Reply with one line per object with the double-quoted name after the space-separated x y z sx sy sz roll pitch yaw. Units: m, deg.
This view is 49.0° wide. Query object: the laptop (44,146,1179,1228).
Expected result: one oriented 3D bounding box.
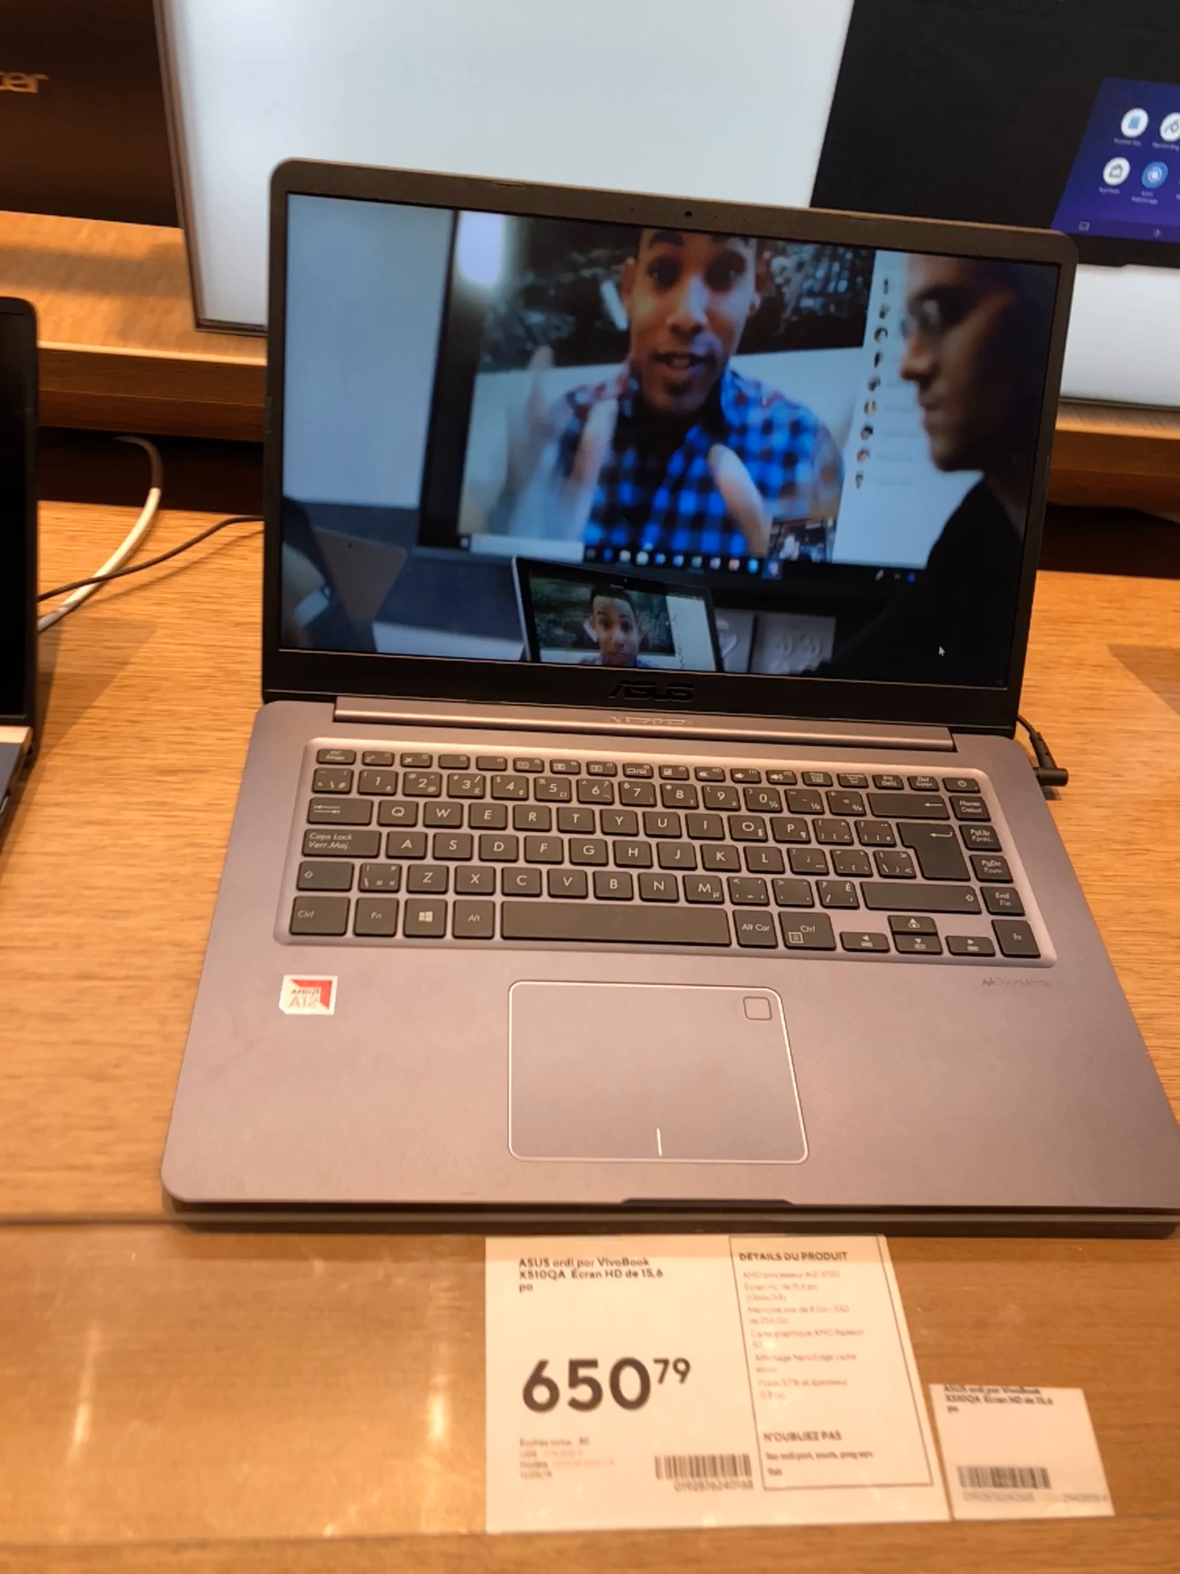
0.036 -0.060 0.499 0.352 0.177 0.392 2 46 -7 "laptop"
